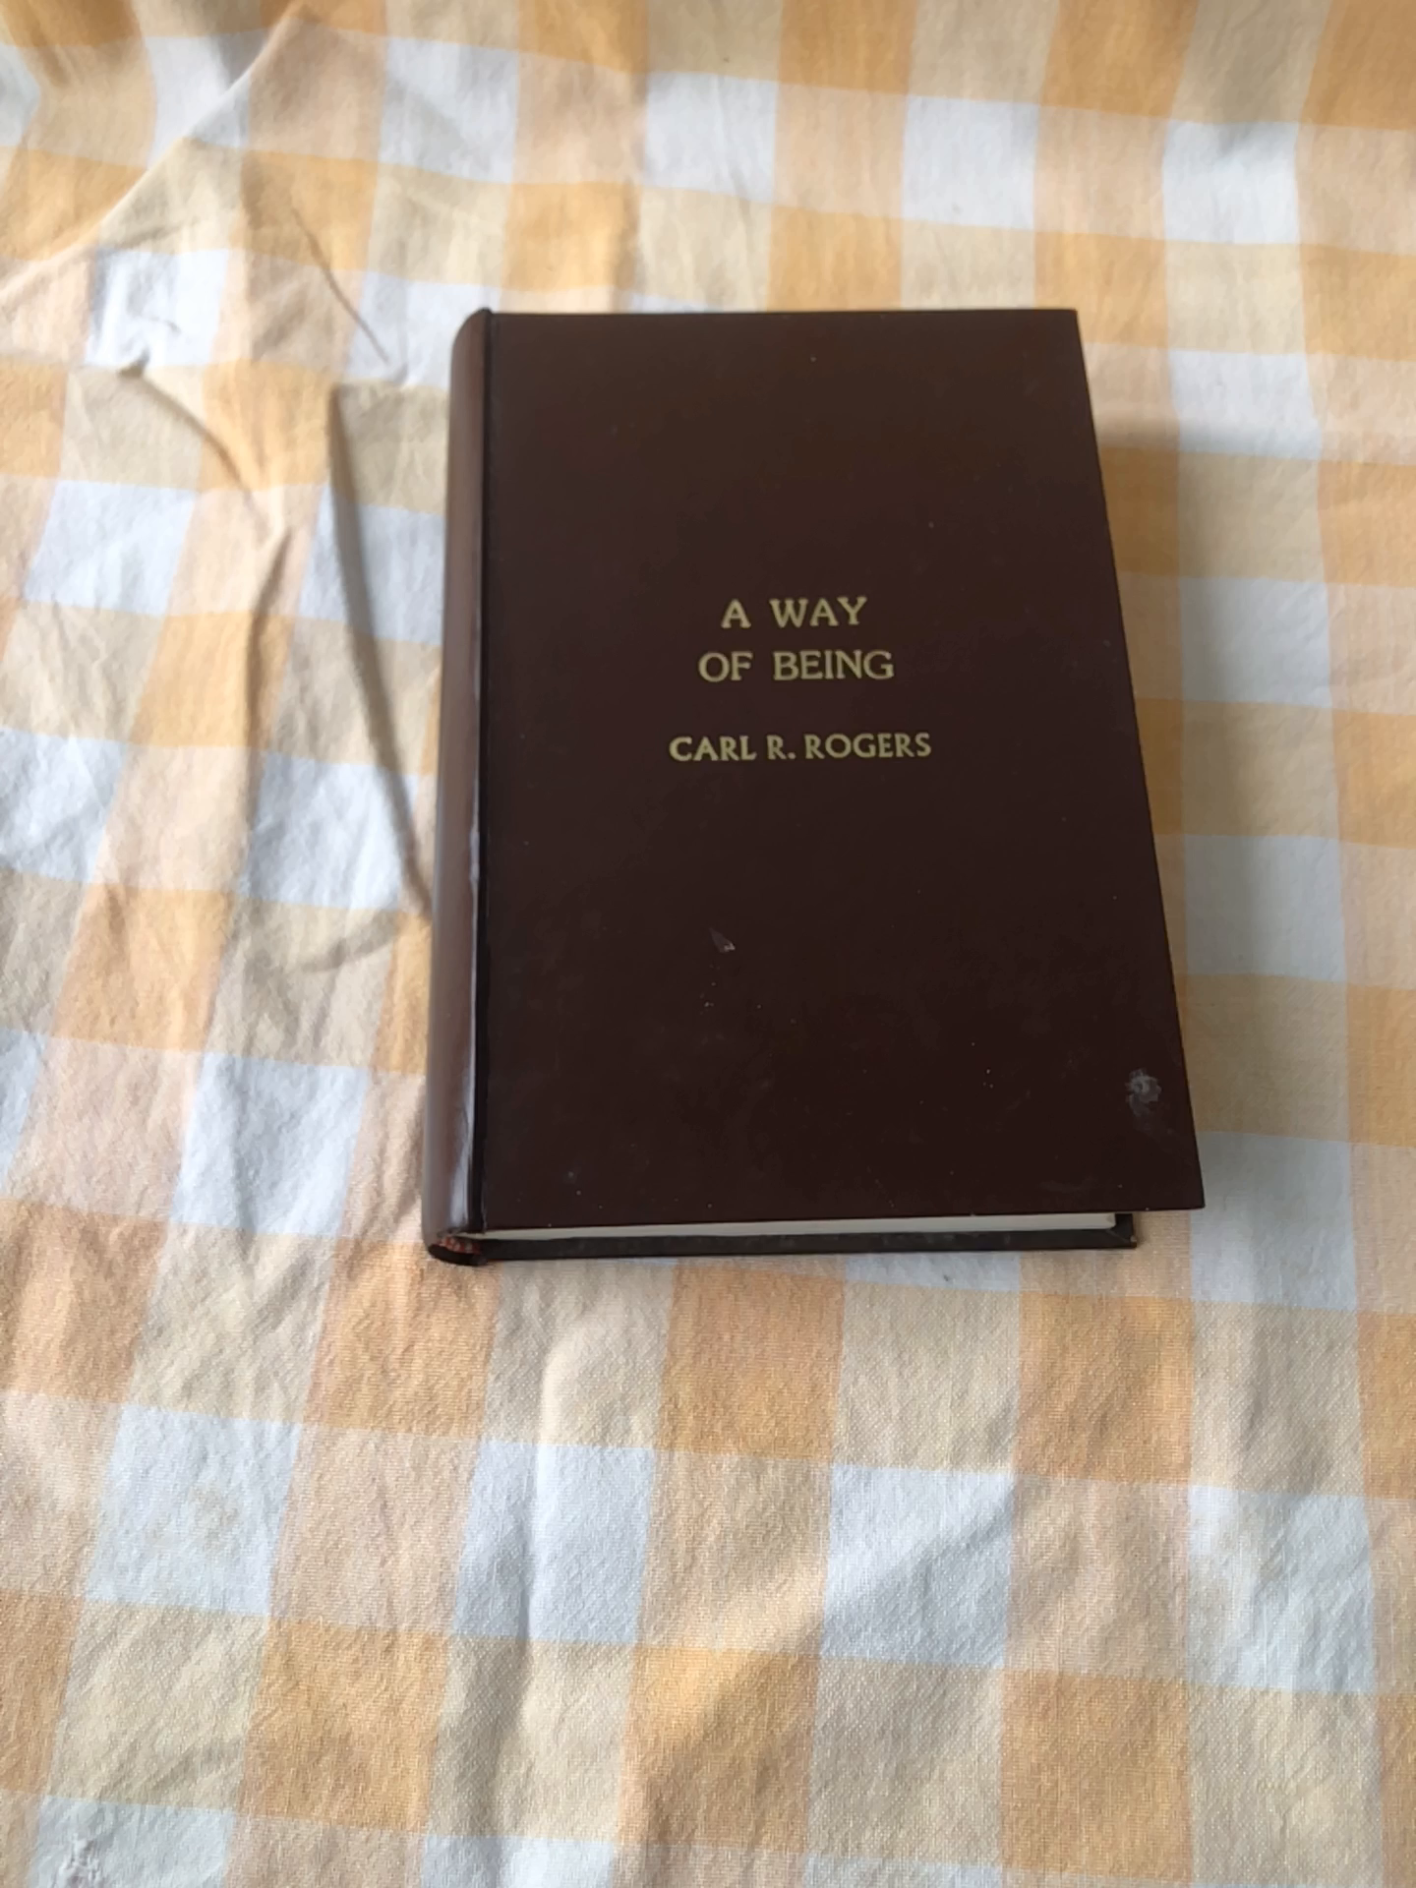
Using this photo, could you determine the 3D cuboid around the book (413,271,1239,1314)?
[{"bbox_3d":[0.016,-0.036,0.331,0.140,0.060,0.210,-1,70,-2],"label":"book"}]
